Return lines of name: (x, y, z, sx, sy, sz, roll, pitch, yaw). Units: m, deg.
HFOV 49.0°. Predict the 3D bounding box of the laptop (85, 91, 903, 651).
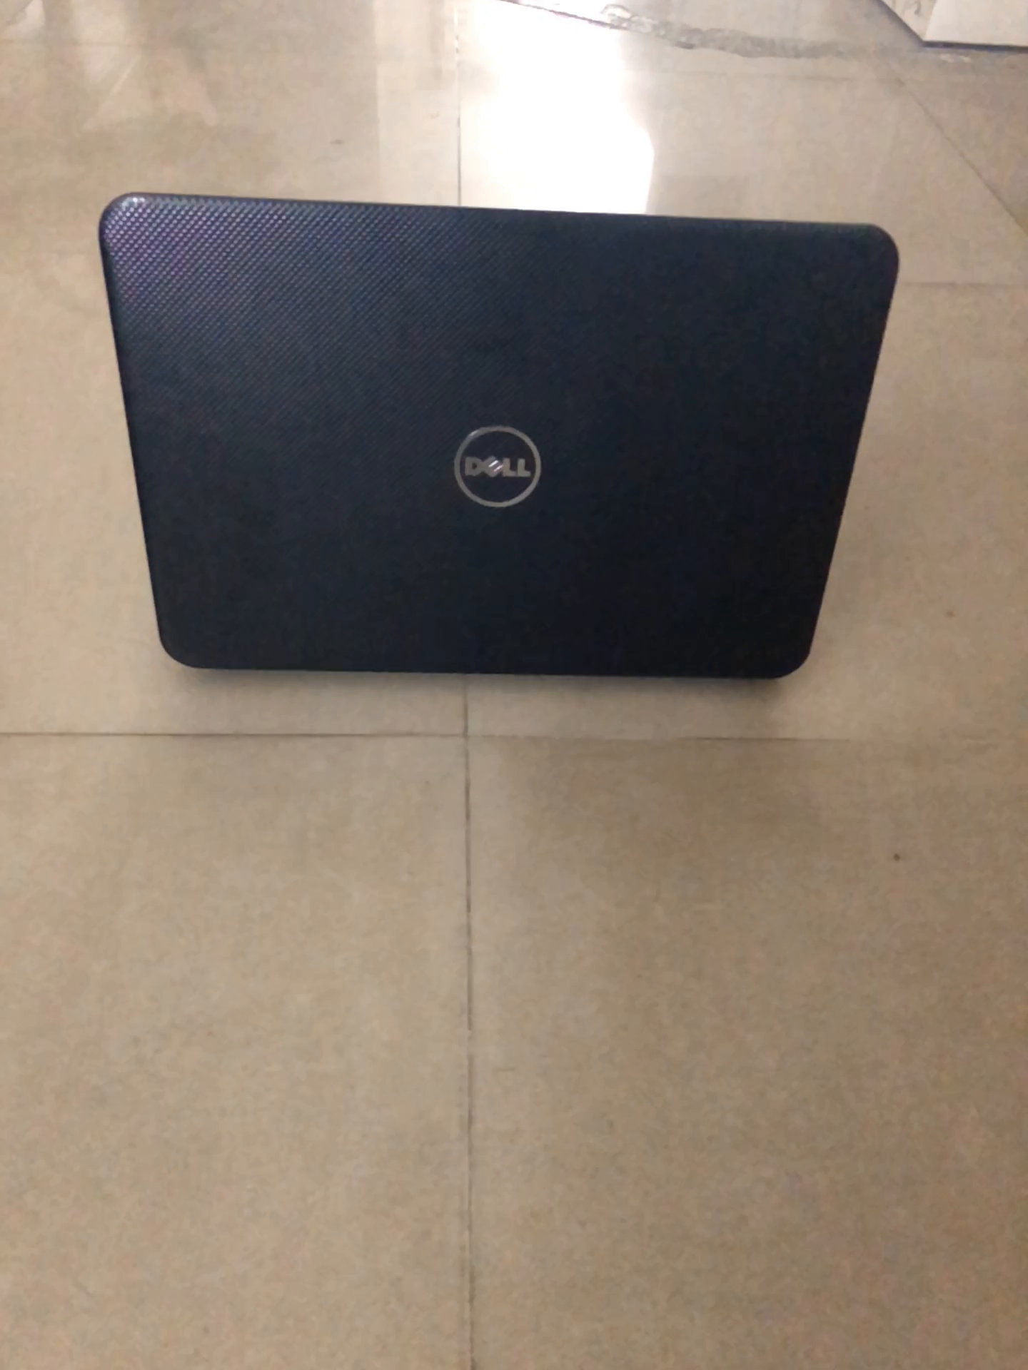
laptop: (-0.014, -0.184, 0.657, 0.351, 0.227, 0.249, 1, 43, -3)
